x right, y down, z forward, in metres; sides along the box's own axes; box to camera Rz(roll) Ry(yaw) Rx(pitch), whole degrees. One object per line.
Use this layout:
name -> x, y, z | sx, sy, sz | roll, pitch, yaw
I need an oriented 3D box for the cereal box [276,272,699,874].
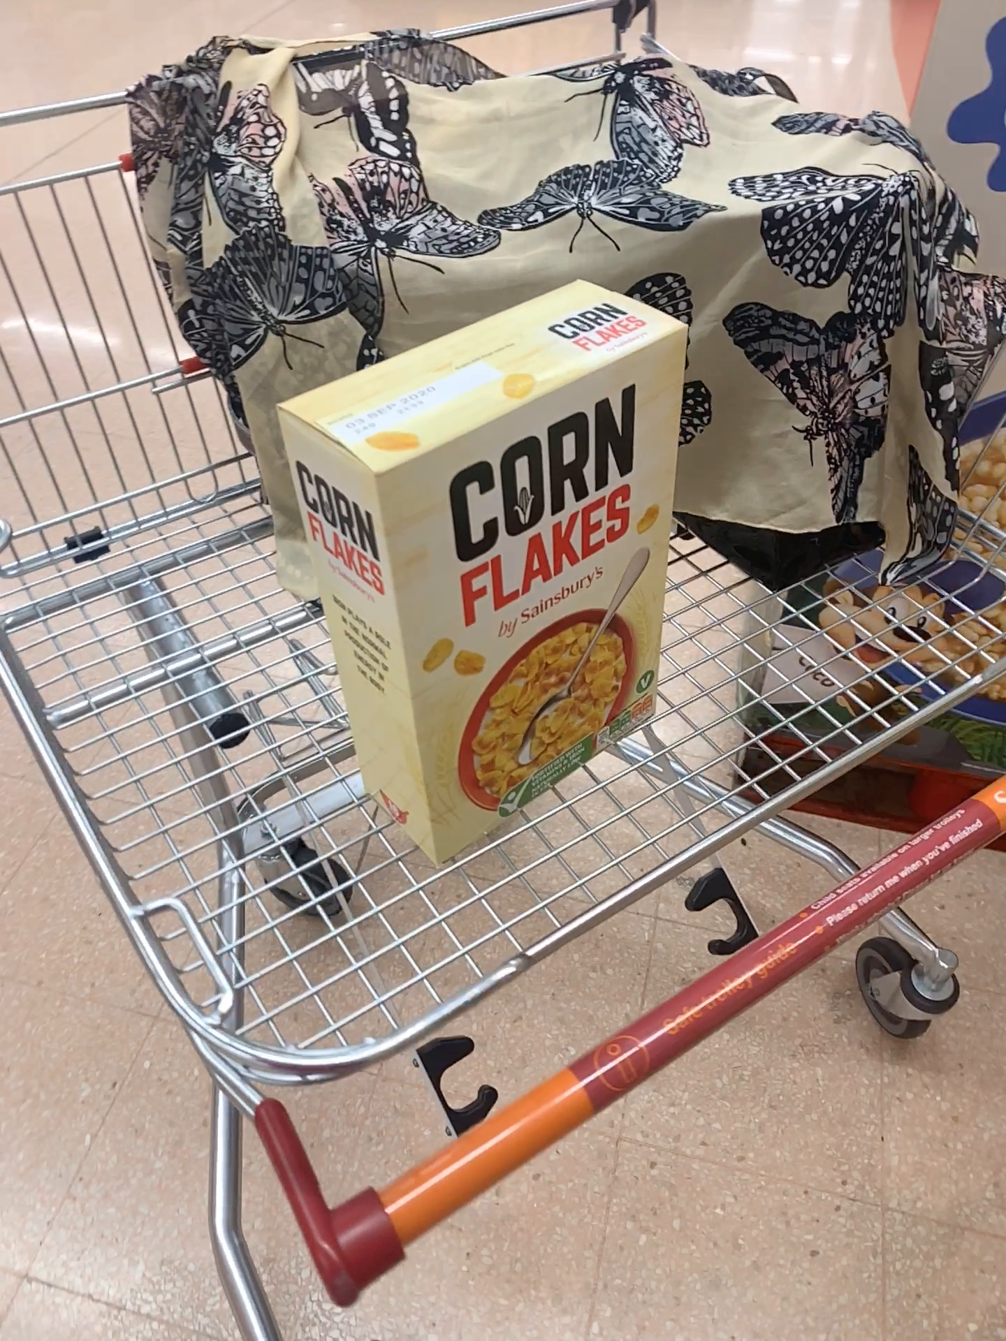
cereal box -> 0.000, -0.046, 0.572 | 0.191, 0.277, 0.080 | -32, 51, -28
